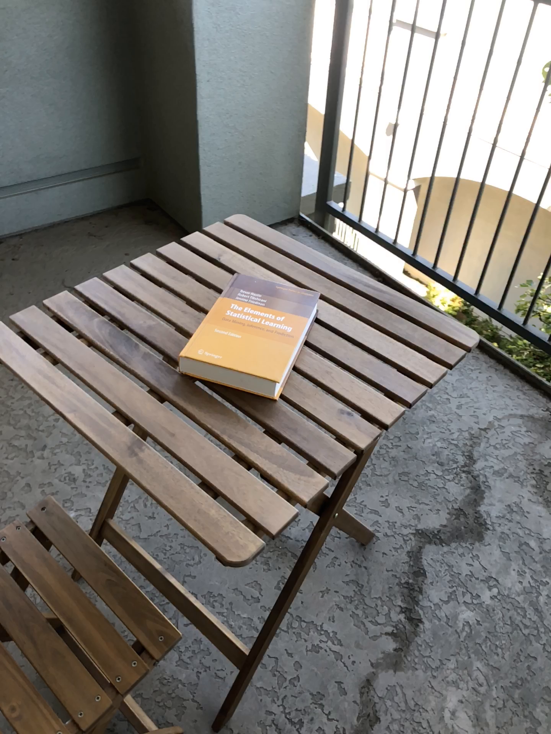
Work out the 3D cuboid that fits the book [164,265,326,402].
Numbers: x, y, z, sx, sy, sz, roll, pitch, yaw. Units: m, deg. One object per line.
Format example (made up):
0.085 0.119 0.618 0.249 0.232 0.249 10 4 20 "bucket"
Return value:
-0.040 -0.065 0.987 0.180 0.040 0.251 15 44 12 "book"
